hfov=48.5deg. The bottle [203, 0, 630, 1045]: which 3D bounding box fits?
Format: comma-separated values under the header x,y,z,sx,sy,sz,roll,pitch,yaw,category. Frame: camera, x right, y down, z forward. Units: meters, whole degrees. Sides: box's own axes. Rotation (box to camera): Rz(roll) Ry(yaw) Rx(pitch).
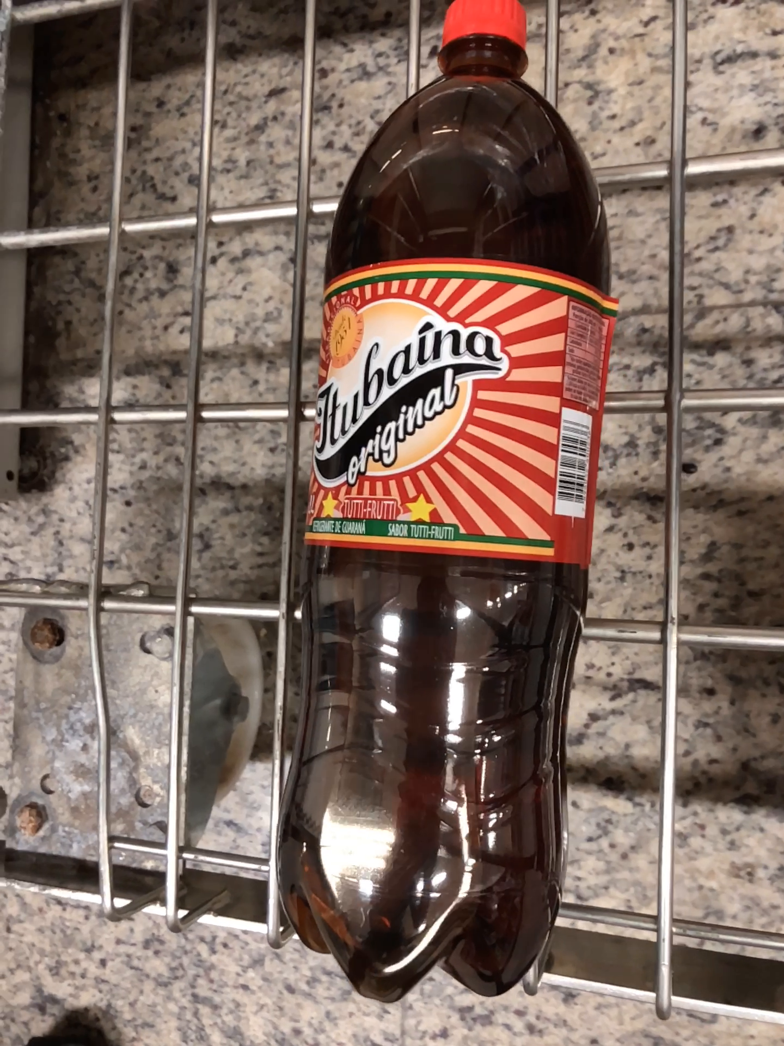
x,y,z,sx,sy,sz,roll,pitch,yaw,category
0.011,-0.012,0.280,0.110,0.070,0.320,2,90,19,bottle
